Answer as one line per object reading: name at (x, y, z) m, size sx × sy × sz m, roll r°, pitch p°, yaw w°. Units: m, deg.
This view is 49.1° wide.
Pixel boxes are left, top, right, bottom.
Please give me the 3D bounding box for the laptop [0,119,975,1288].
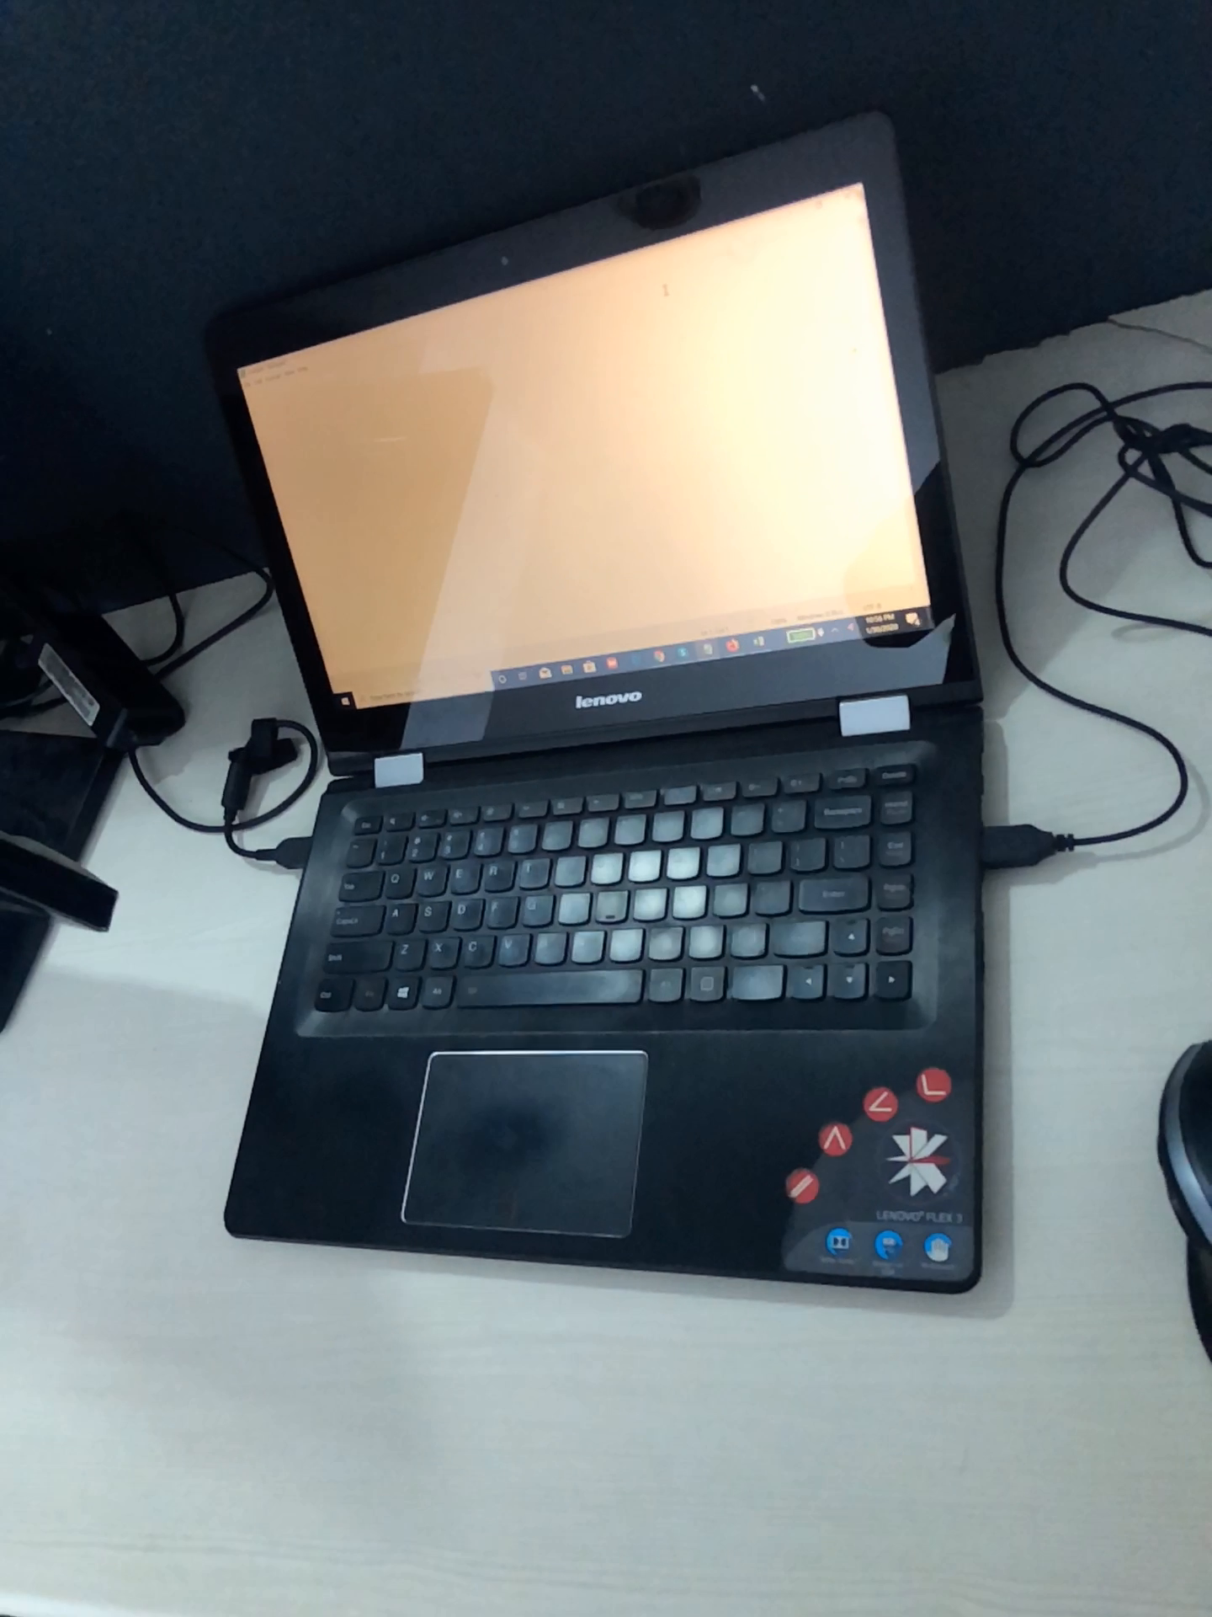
laptop at (-0.036, -0.032, 0.544) m, size 0.335 × 0.171 × 0.386 m, roll -6°, pitch 60°, yaw 26°
